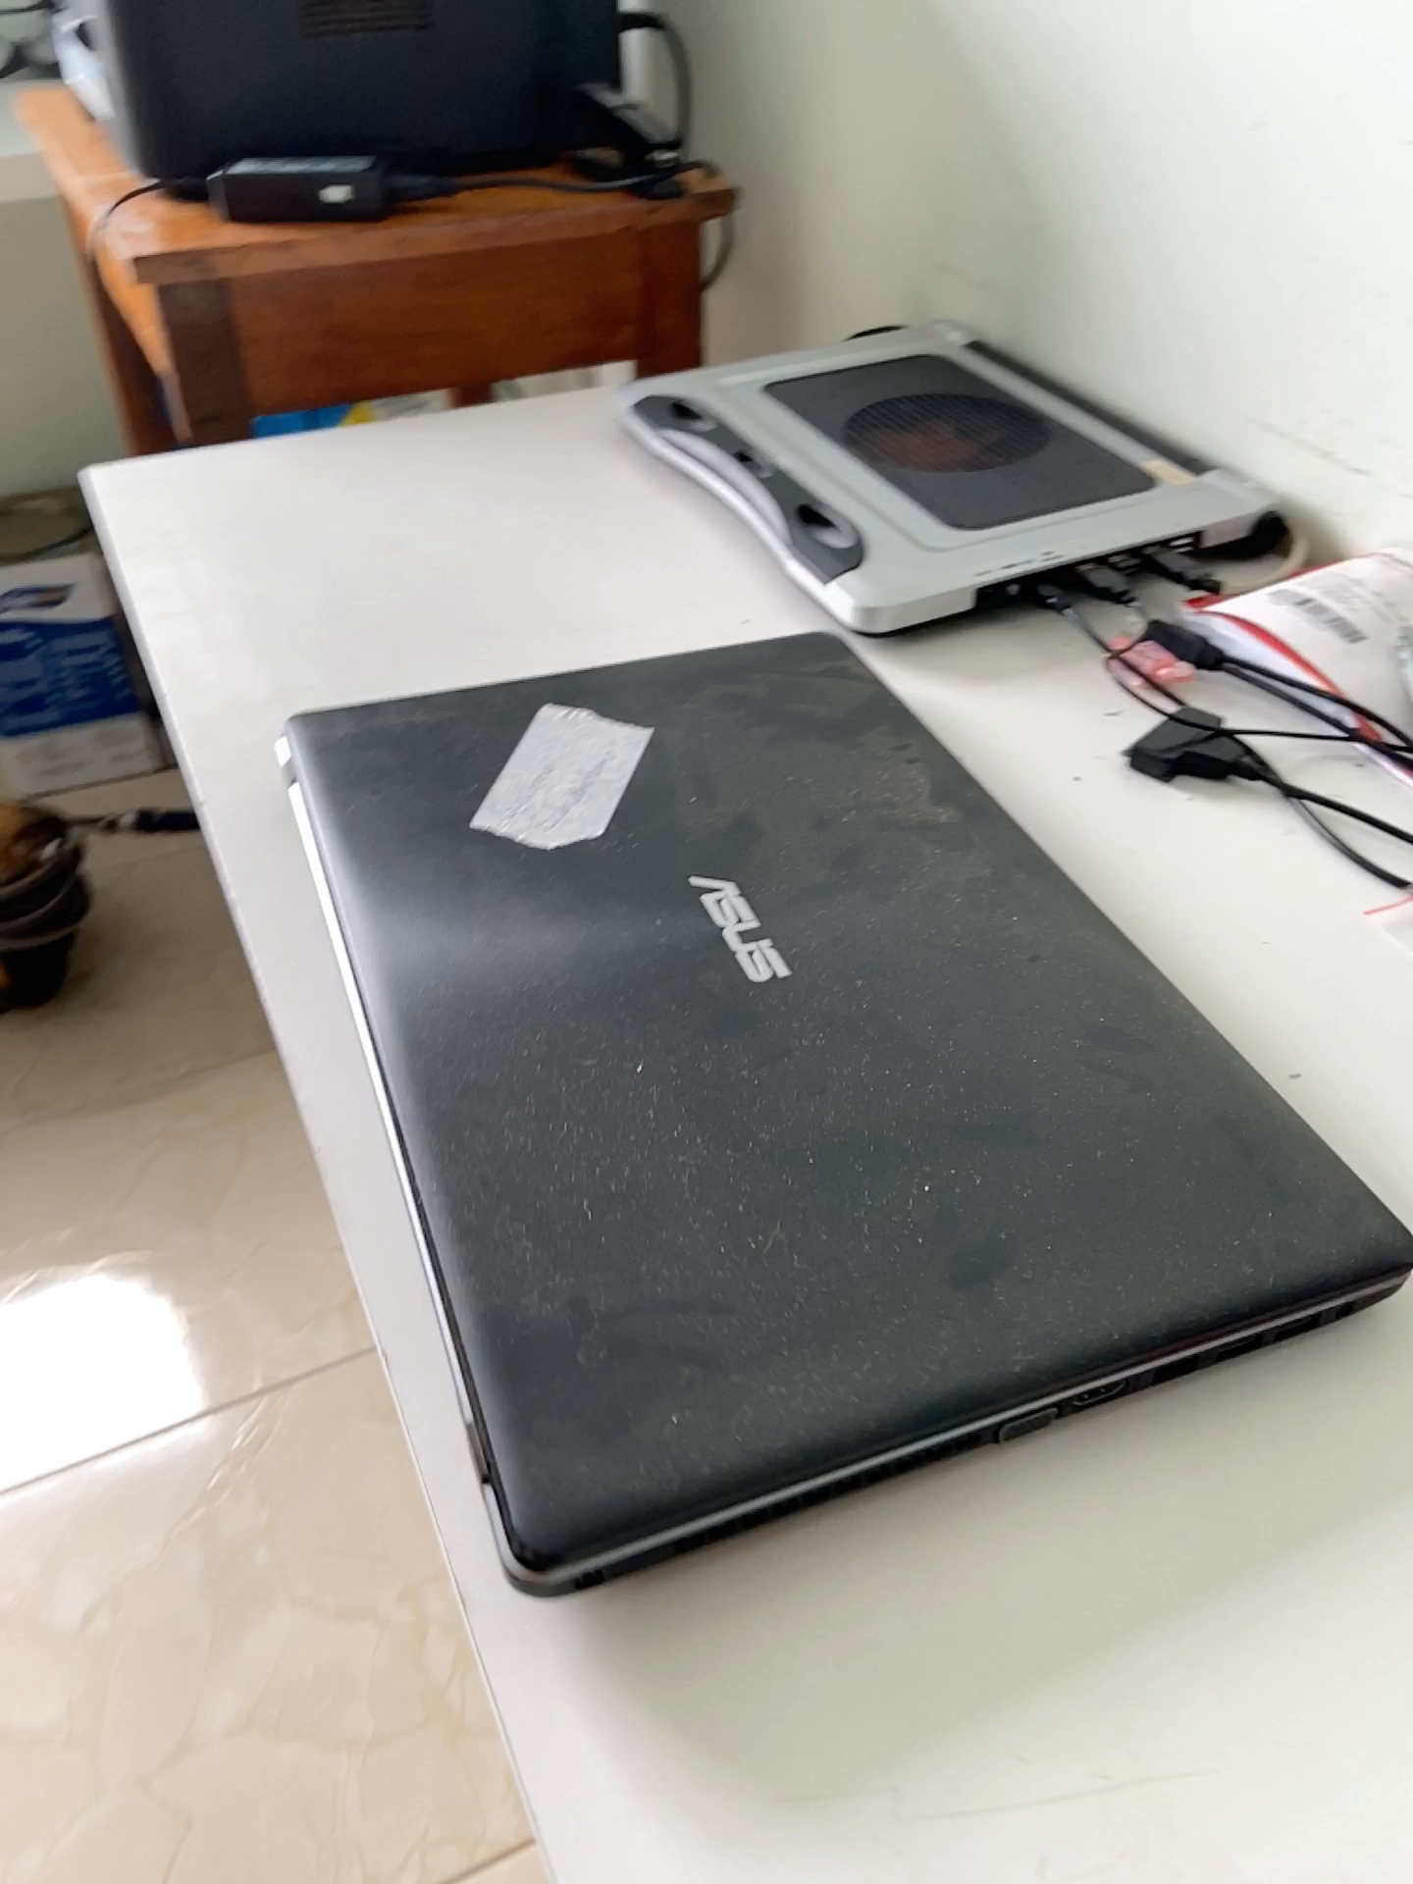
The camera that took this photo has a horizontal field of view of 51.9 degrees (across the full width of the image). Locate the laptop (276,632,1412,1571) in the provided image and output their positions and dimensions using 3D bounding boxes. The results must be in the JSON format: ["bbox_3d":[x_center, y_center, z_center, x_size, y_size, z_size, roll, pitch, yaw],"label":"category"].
[{"bbox_3d":[0.008,-0.001,0.498,0.251,0.007,0.387,-13,41,-16],"label":"laptop"}]
